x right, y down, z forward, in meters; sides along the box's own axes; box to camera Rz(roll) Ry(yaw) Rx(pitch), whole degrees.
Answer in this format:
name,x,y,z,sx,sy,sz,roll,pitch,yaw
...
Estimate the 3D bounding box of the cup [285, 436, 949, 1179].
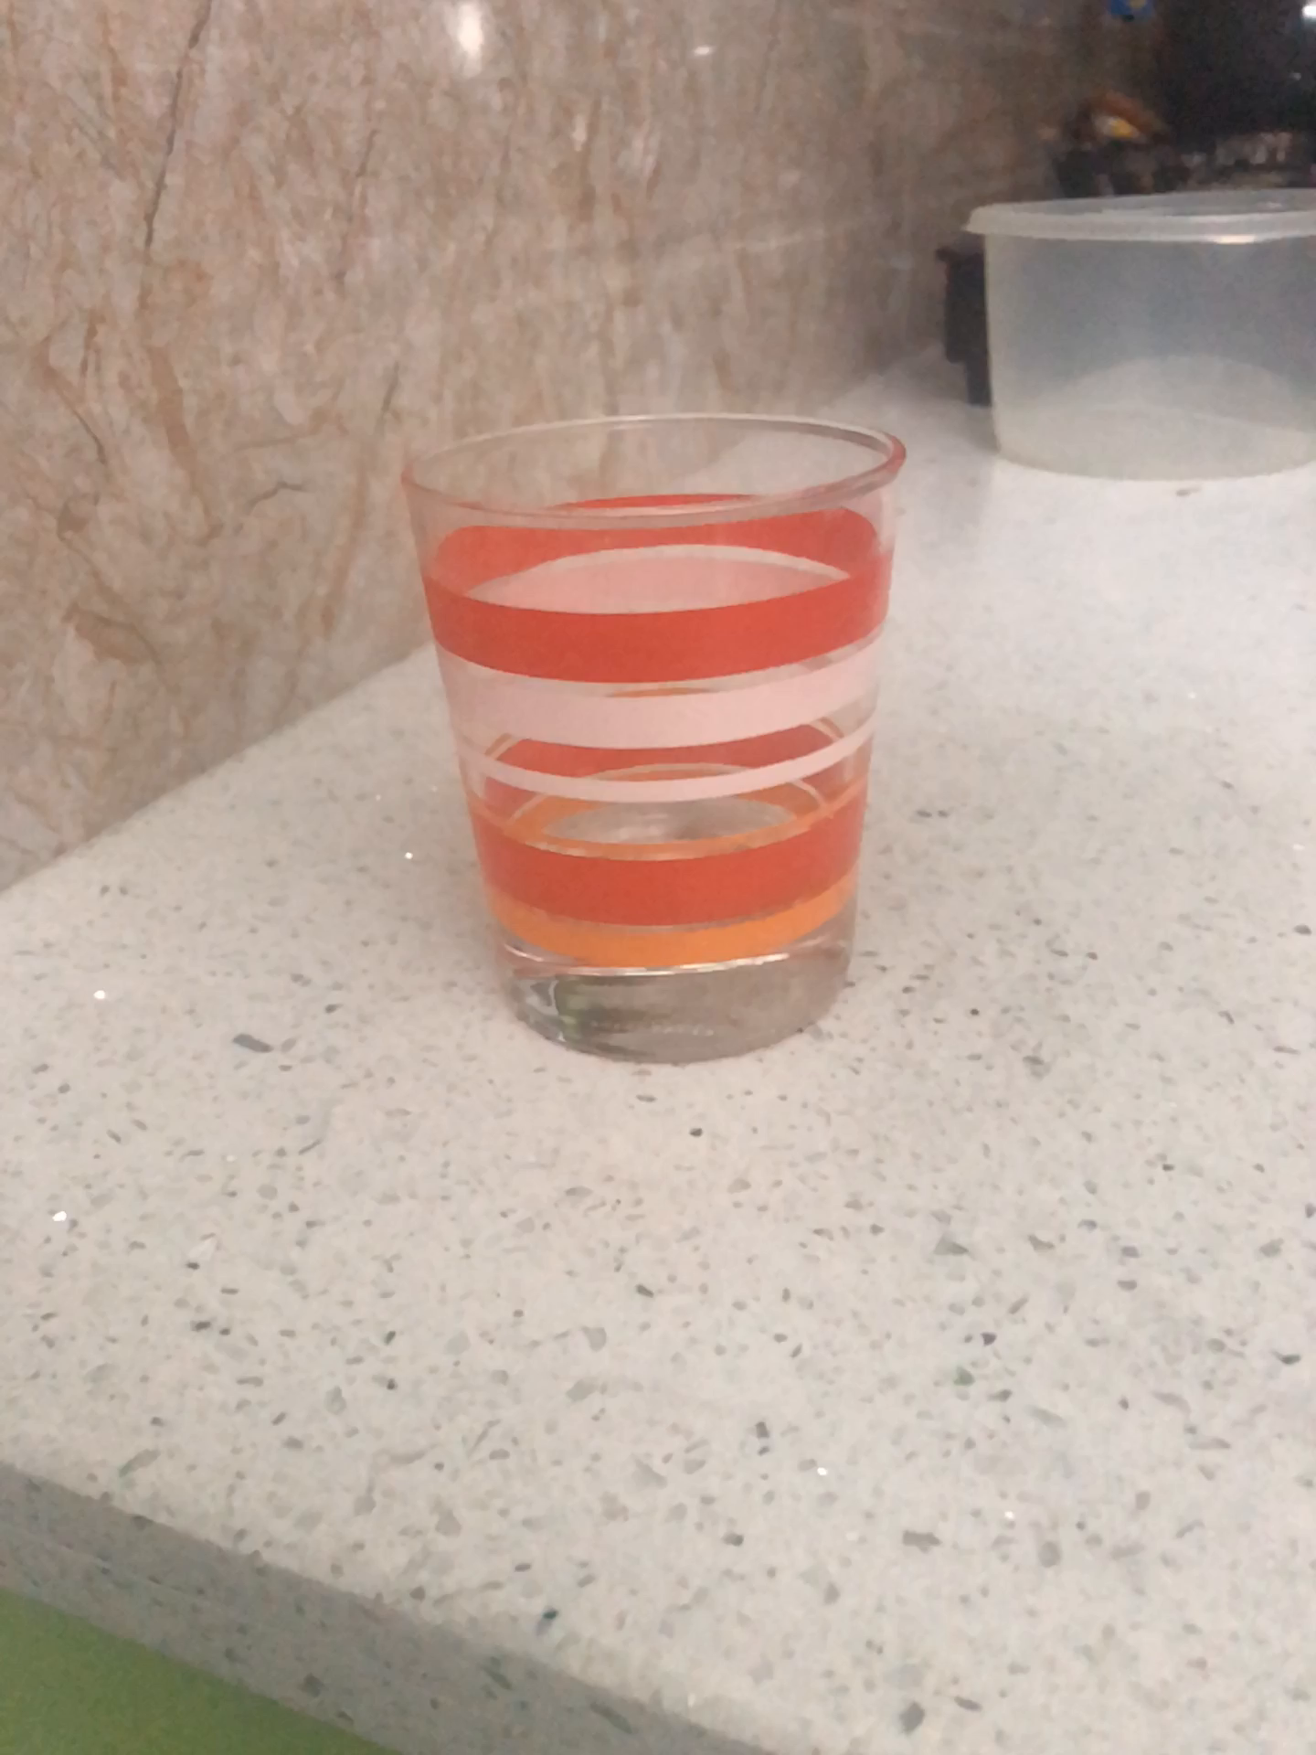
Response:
name,x,y,z,sx,sy,sz,roll,pitch,yaw
cup,0.003,-0.019,0.245,0.080,0.090,0.090,4,27,14
